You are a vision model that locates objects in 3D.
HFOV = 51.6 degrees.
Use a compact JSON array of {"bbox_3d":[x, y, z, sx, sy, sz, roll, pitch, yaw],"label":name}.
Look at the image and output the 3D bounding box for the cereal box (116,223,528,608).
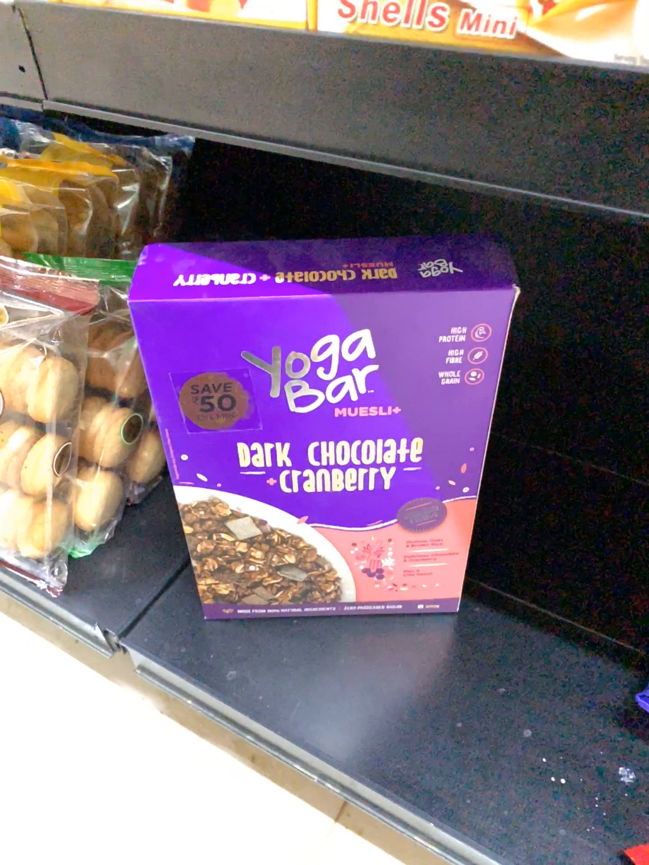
[{"bbox_3d":[-0.001,0.006,0.369,0.170,0.228,0.050,0,39,0],"label":"cereal box"}]
